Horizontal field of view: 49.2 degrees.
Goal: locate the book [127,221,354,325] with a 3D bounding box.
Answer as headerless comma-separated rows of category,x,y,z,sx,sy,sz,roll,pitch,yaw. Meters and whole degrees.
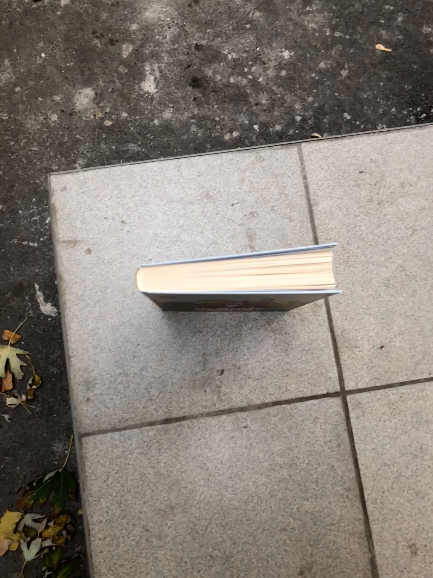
book,0.015,-0.004,0.445,0.160,0.209,0.044,-6,82,-2
